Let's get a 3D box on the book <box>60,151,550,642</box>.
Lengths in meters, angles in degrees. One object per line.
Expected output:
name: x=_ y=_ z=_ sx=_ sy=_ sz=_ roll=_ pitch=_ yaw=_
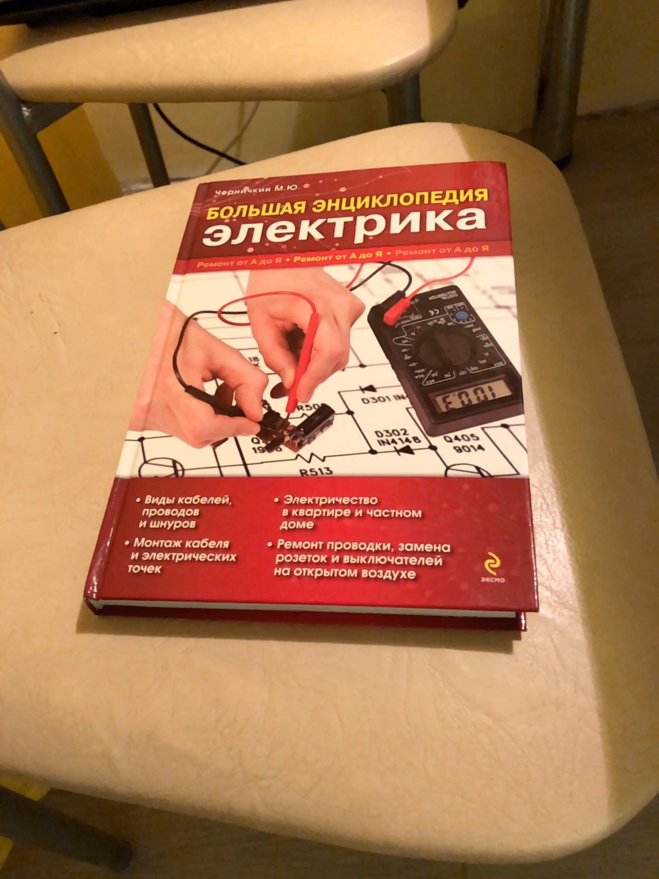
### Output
book: x=0.000 y=-0.036 z=0.328 sx=0.172 sy=0.030 sz=0.242 roll=0 pitch=56 yaw=10
